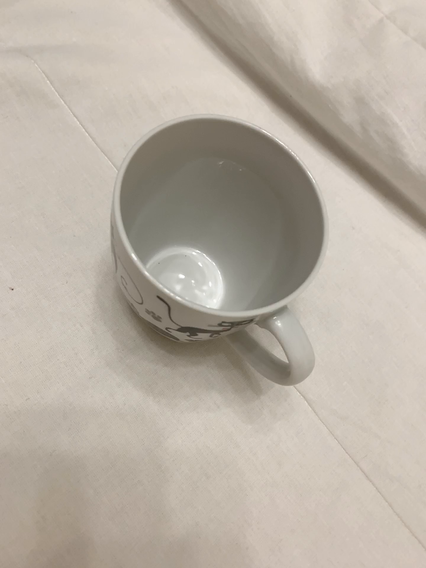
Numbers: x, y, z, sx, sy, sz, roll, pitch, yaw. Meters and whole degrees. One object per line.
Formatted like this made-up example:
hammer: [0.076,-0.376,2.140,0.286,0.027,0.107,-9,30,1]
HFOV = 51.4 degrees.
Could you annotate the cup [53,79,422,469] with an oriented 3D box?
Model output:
cup: [0.001,-0.002,0.185,0.081,0.077,0.119,-24,77,-20]
